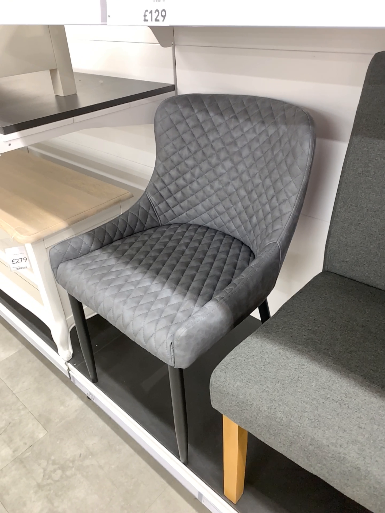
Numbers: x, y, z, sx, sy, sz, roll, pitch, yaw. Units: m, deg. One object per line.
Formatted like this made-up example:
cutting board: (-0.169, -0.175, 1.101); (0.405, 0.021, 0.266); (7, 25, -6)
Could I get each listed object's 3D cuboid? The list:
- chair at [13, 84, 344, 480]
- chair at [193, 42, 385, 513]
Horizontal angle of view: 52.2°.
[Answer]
chair: (-0.003, 0.022, 1.067); (0.482, 0.792, 0.543); (24, 42, 36)
chair: (0.366, 0.135, 0.758); (0.432, 0.911, 0.563); (24, 41, 35)
